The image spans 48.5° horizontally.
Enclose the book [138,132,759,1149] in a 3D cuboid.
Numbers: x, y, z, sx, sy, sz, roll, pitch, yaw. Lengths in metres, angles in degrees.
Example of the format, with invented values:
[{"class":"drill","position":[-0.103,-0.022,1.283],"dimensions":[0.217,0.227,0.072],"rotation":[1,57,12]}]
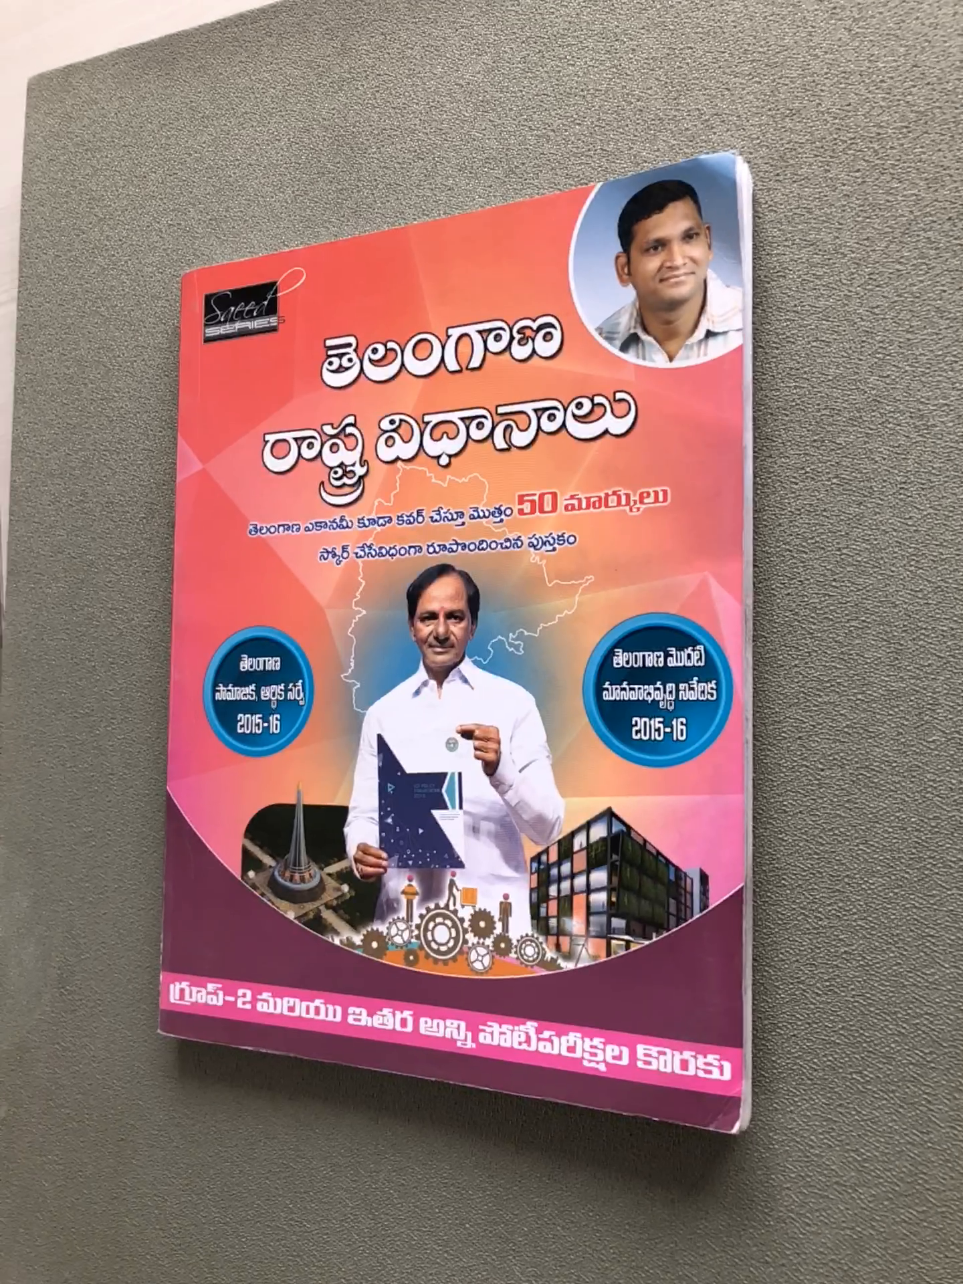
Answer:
[{"class":"book","position":[-0.014,-0.002,0.311],"dimensions":[0.180,0.030,0.250],"rotation":[-1,86,23]}]
